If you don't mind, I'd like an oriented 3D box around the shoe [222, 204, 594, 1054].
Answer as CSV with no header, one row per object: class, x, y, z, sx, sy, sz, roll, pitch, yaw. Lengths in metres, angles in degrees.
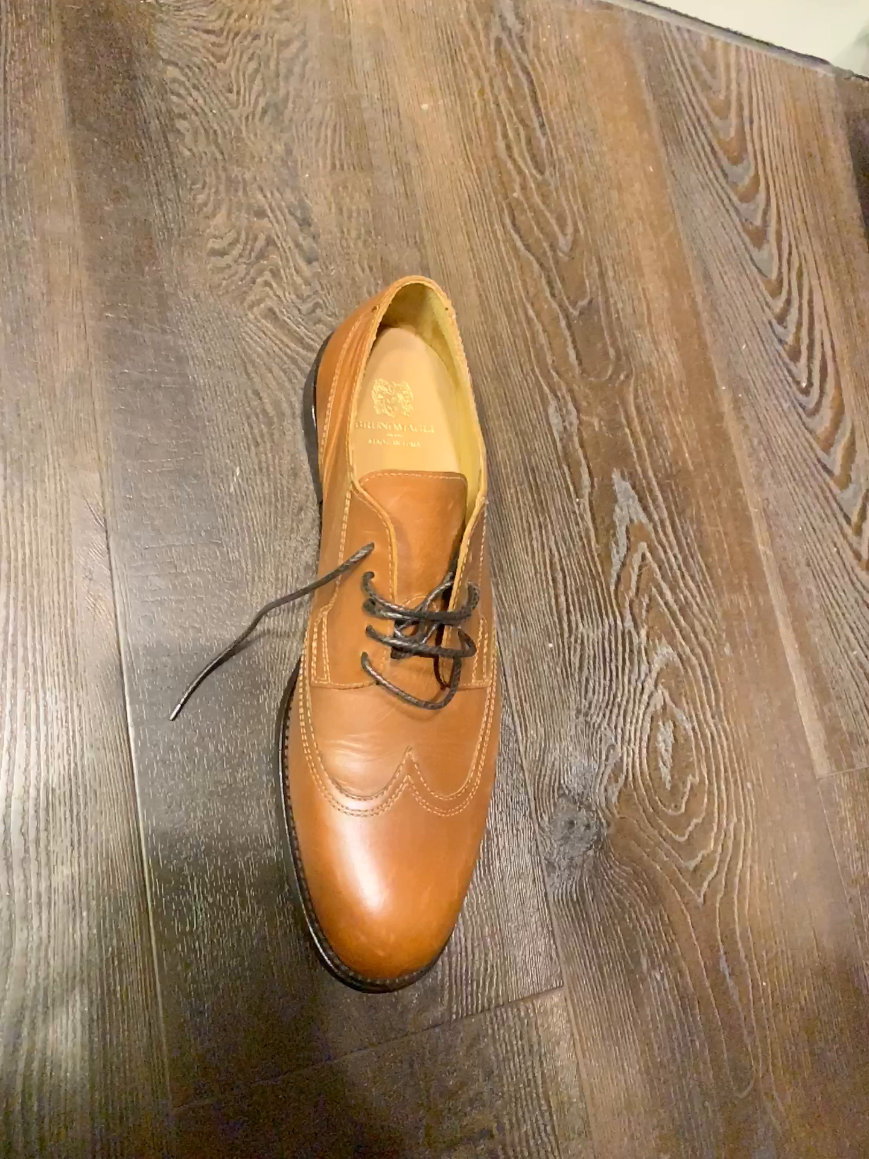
shoe,-0.018,0.016,0.400,0.120,0.109,0.321,5,74,-21
